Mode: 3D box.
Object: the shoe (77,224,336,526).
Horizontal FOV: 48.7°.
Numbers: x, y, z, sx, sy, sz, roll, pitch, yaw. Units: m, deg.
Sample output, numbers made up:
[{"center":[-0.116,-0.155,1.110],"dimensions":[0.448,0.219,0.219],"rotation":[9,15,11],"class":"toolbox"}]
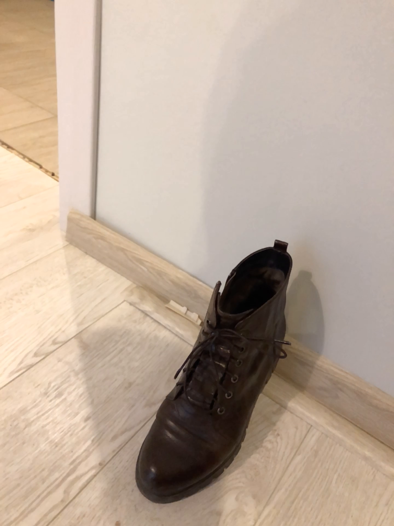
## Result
[{"center":[0.026,0.122,0.455],"dimensions":[0.100,0.179,0.262],"rotation":[28,60,22],"class":"shoe"}]
